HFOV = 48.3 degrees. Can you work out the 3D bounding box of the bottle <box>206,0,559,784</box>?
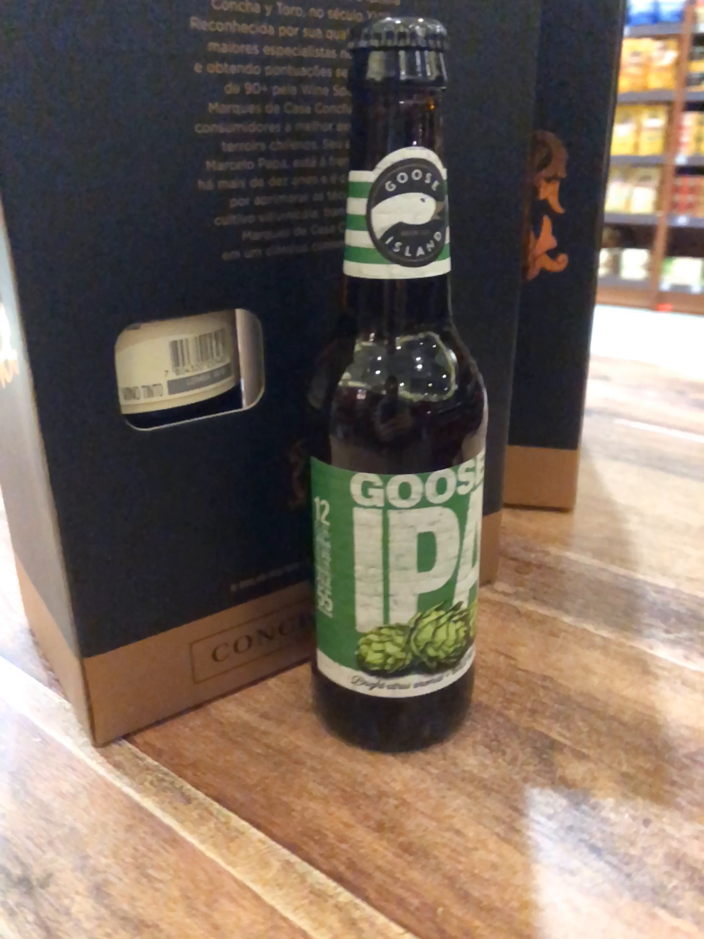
[{"bbox_3d":[0.008,-0.023,0.247,0.070,0.228,0.060,-14,26,-29],"label":"bottle"}]
